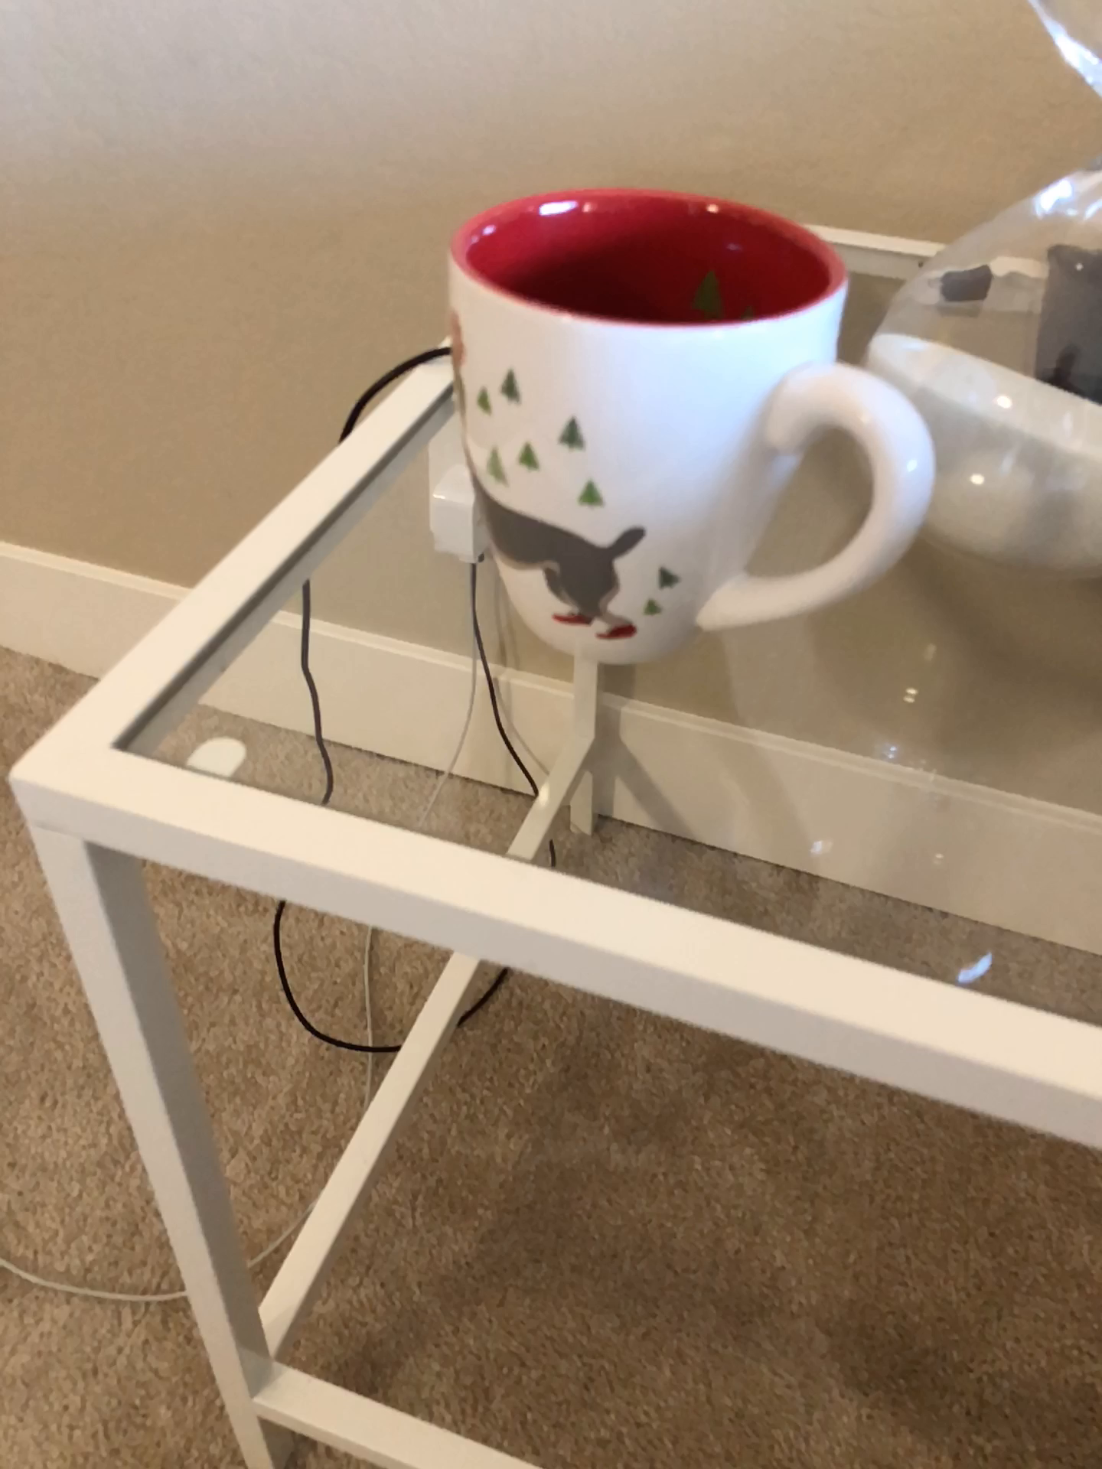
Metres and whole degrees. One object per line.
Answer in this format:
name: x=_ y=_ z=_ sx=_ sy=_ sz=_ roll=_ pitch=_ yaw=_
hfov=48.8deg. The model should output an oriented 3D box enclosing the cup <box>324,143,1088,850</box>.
cup: x=0.031 y=-0.072 z=0.321 sx=0.150 sy=0.109 sz=0.100 roll=34 pitch=50 yaw=32
